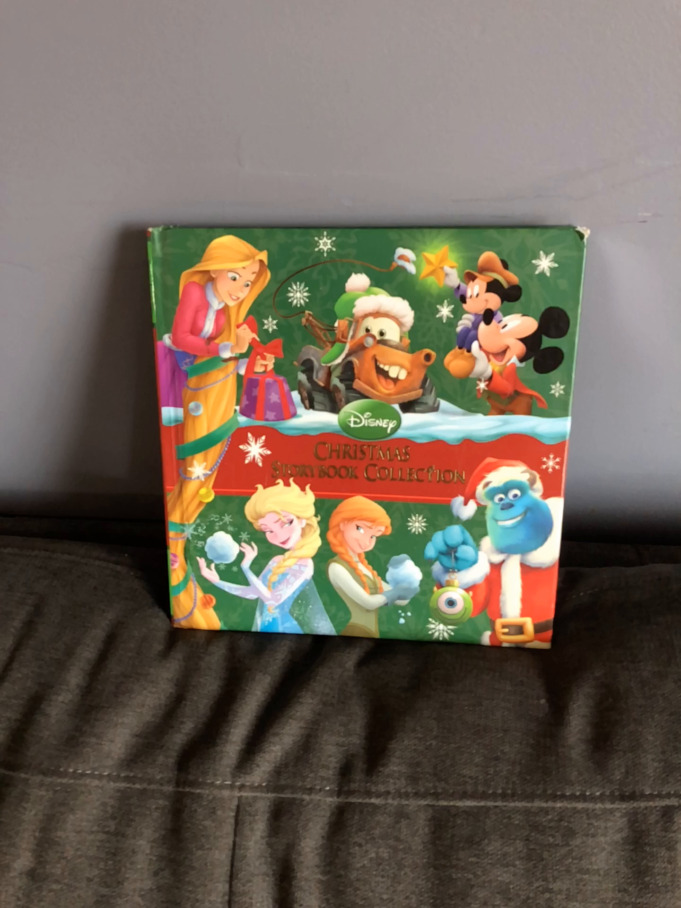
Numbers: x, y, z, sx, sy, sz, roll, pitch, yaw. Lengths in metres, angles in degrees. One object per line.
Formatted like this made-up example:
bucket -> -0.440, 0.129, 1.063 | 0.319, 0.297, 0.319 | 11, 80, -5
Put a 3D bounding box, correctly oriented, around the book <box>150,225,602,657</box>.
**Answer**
book -> 0.015, -0.006, 0.427 | 0.227, 0.238, 0.033 | 2, 18, 7
